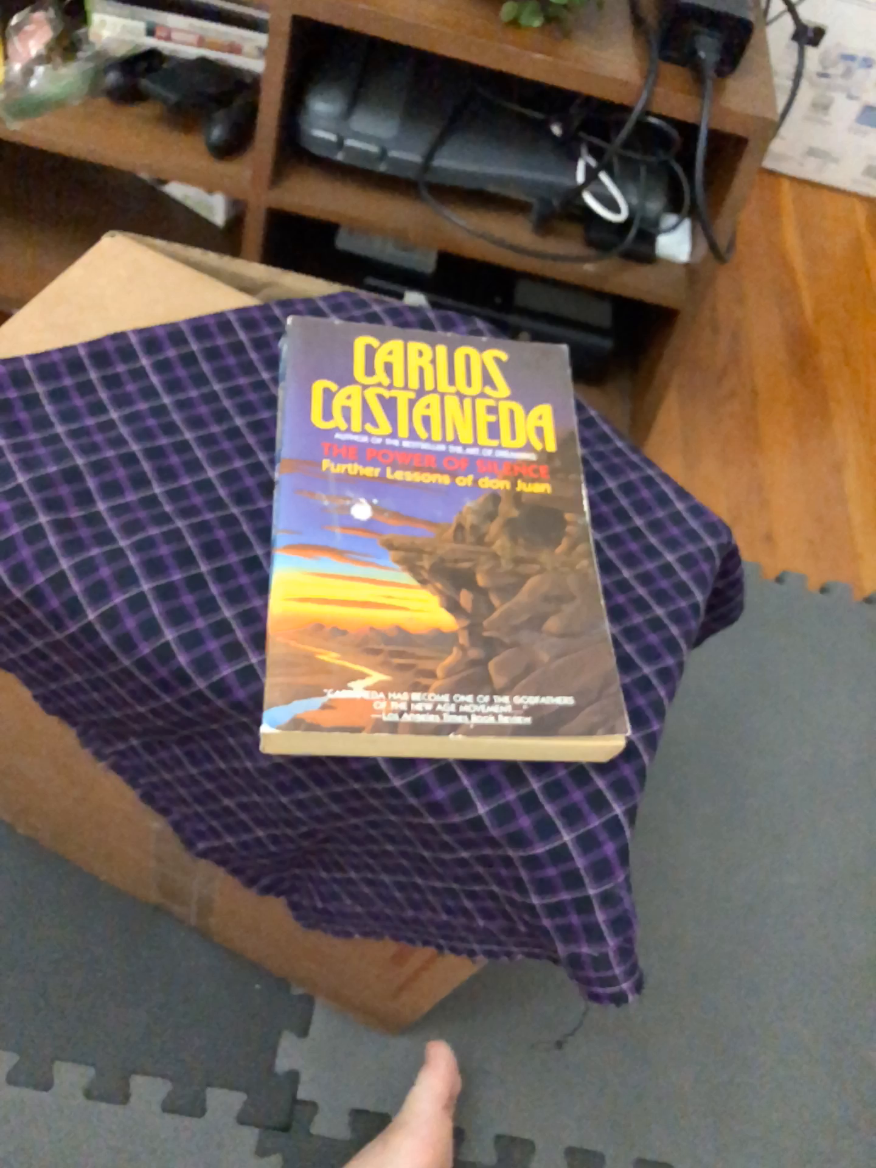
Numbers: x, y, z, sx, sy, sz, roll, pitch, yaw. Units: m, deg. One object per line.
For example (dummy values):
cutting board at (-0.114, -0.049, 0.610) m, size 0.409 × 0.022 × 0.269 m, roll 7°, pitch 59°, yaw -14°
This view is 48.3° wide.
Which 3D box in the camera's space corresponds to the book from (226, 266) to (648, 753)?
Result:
book at (-0.002, -0.040, 0.408) m, size 0.150 × 0.020 × 0.221 m, roll 5°, pitch 57°, yaw -10°
